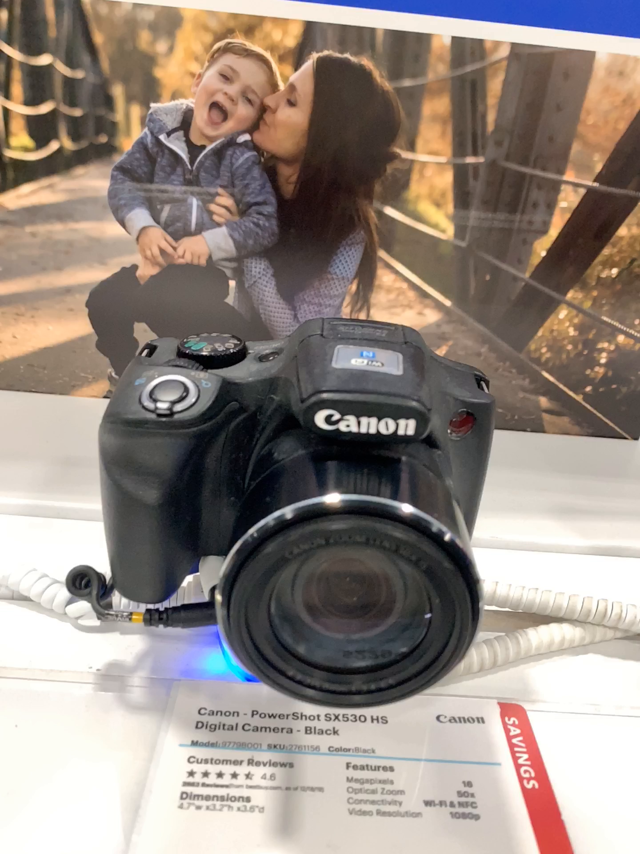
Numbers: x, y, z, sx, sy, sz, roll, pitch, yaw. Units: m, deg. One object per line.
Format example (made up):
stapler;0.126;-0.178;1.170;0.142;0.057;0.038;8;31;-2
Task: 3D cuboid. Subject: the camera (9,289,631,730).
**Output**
camera;-0.004;0.016;0.188;0.124;0.080;0.090;5;24;-4
